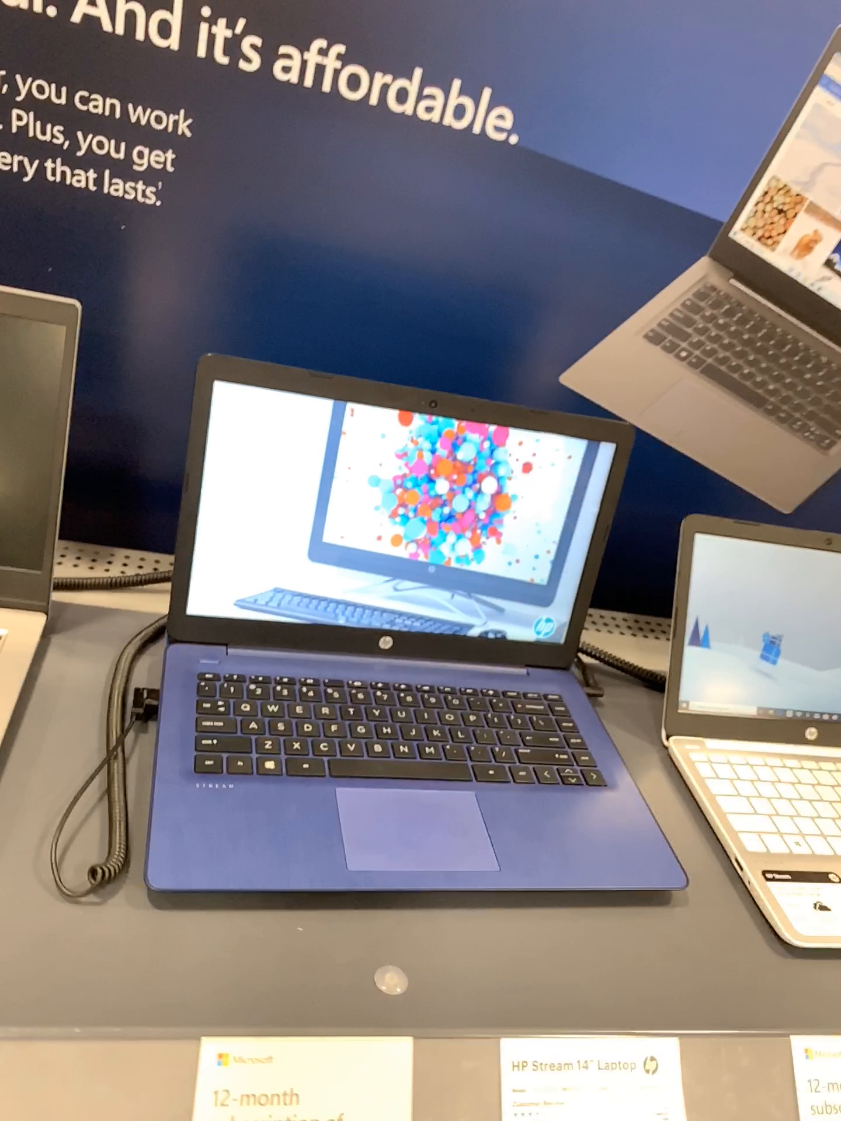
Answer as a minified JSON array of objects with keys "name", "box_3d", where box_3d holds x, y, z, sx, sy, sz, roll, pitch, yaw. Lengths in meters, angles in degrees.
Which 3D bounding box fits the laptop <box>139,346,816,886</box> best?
[{"name":"laptop","box_3d":[0.004,0.033,0.559,0.322,0.208,0.253,7,29,-18]}]
